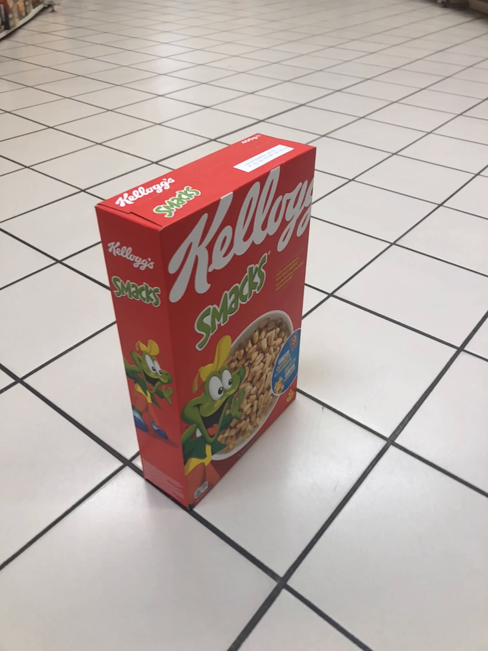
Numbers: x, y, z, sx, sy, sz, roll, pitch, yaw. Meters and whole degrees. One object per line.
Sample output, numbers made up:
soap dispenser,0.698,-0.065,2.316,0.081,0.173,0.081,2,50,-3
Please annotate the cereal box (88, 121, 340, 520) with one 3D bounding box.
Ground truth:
cereal box,-0.014,-0.001,0.490,0.080,0.298,0.201,24,43,27
